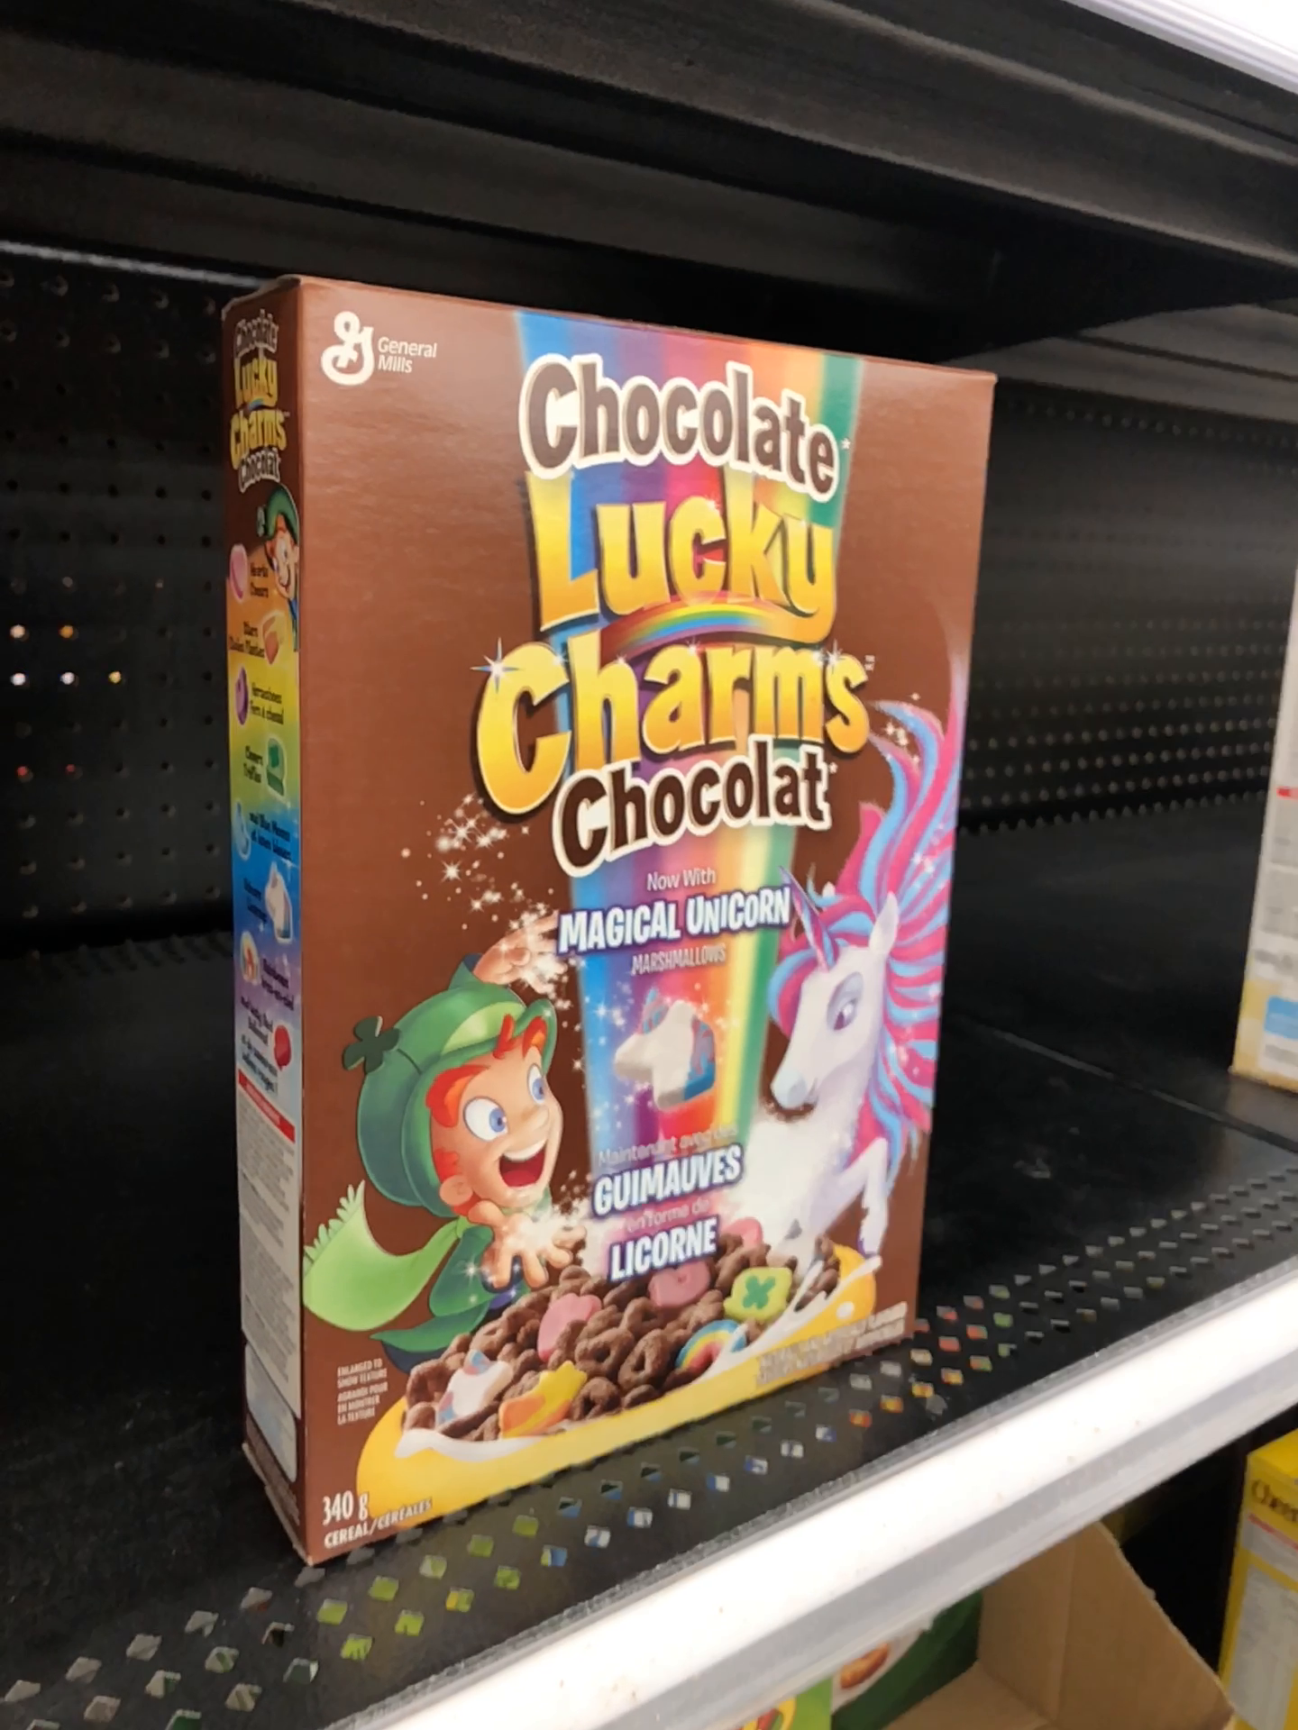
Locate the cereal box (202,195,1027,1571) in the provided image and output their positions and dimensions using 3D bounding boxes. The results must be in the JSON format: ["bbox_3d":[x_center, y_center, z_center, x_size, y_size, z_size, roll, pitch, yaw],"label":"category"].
[{"bbox_3d":[-0.004,0.003,0.372,0.200,0.289,0.050,-6,14,-34],"label":"cereal box"}]
